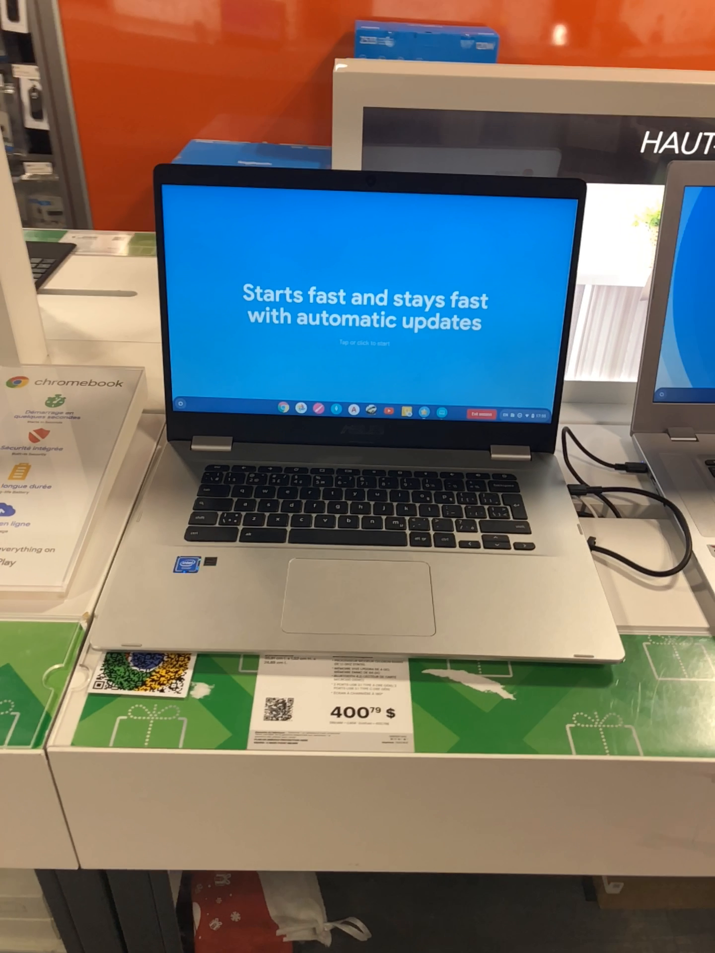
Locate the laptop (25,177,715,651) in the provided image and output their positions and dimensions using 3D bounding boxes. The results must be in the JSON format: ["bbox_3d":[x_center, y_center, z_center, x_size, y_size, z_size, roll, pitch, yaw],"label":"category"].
[{"bbox_3d":[0.011,-0.060,0.564,0.337,0.225,0.287,1,35,0],"label":"laptop"}]
